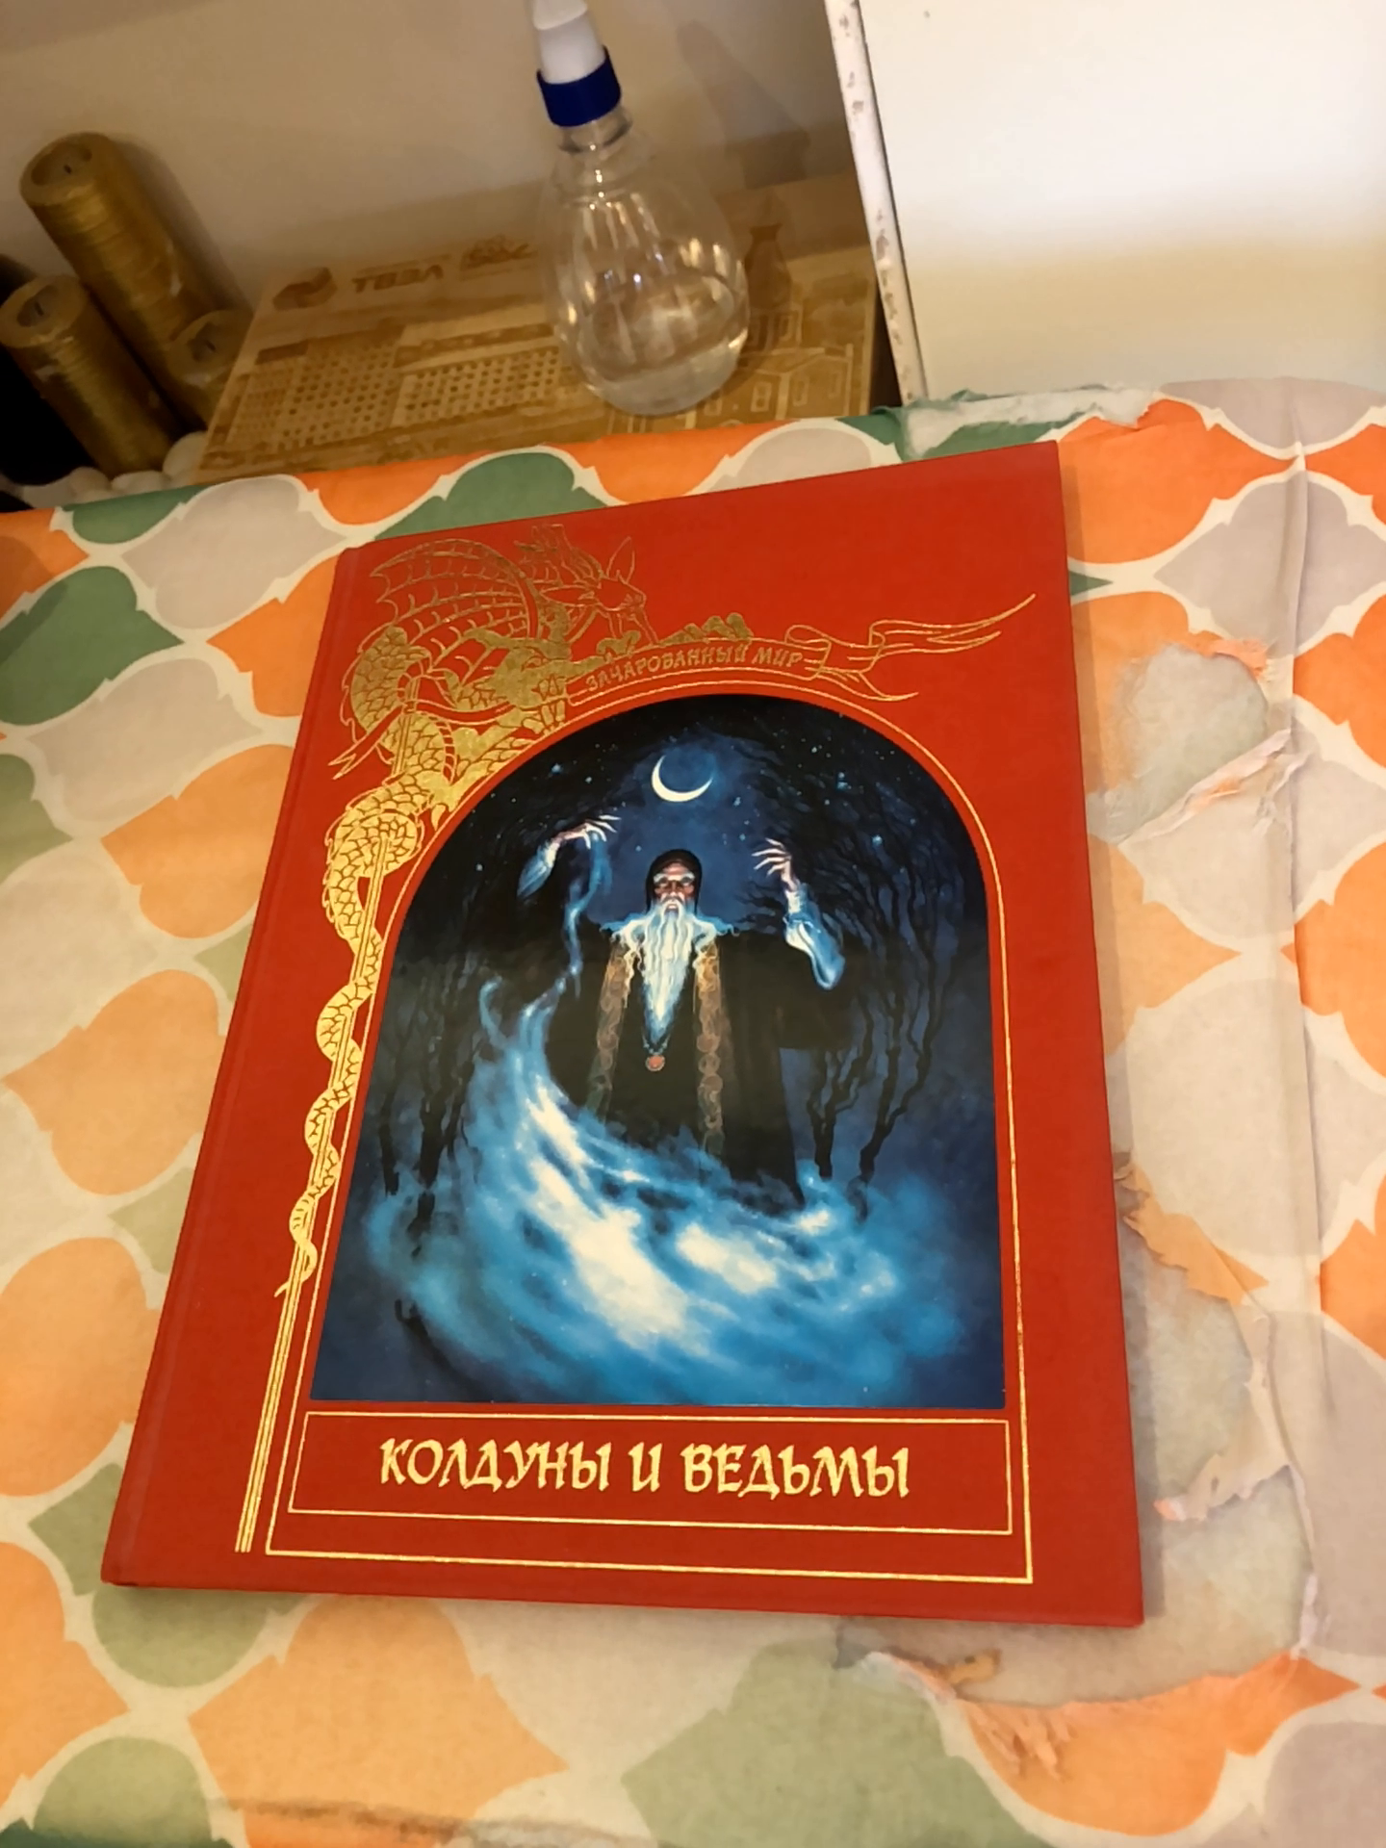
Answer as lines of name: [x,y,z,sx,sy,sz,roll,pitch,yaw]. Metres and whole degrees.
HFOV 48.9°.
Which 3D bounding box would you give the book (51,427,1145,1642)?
book: [-0.016,0.007,0.366,0.215,0.020,0.291,-5,58,15]
